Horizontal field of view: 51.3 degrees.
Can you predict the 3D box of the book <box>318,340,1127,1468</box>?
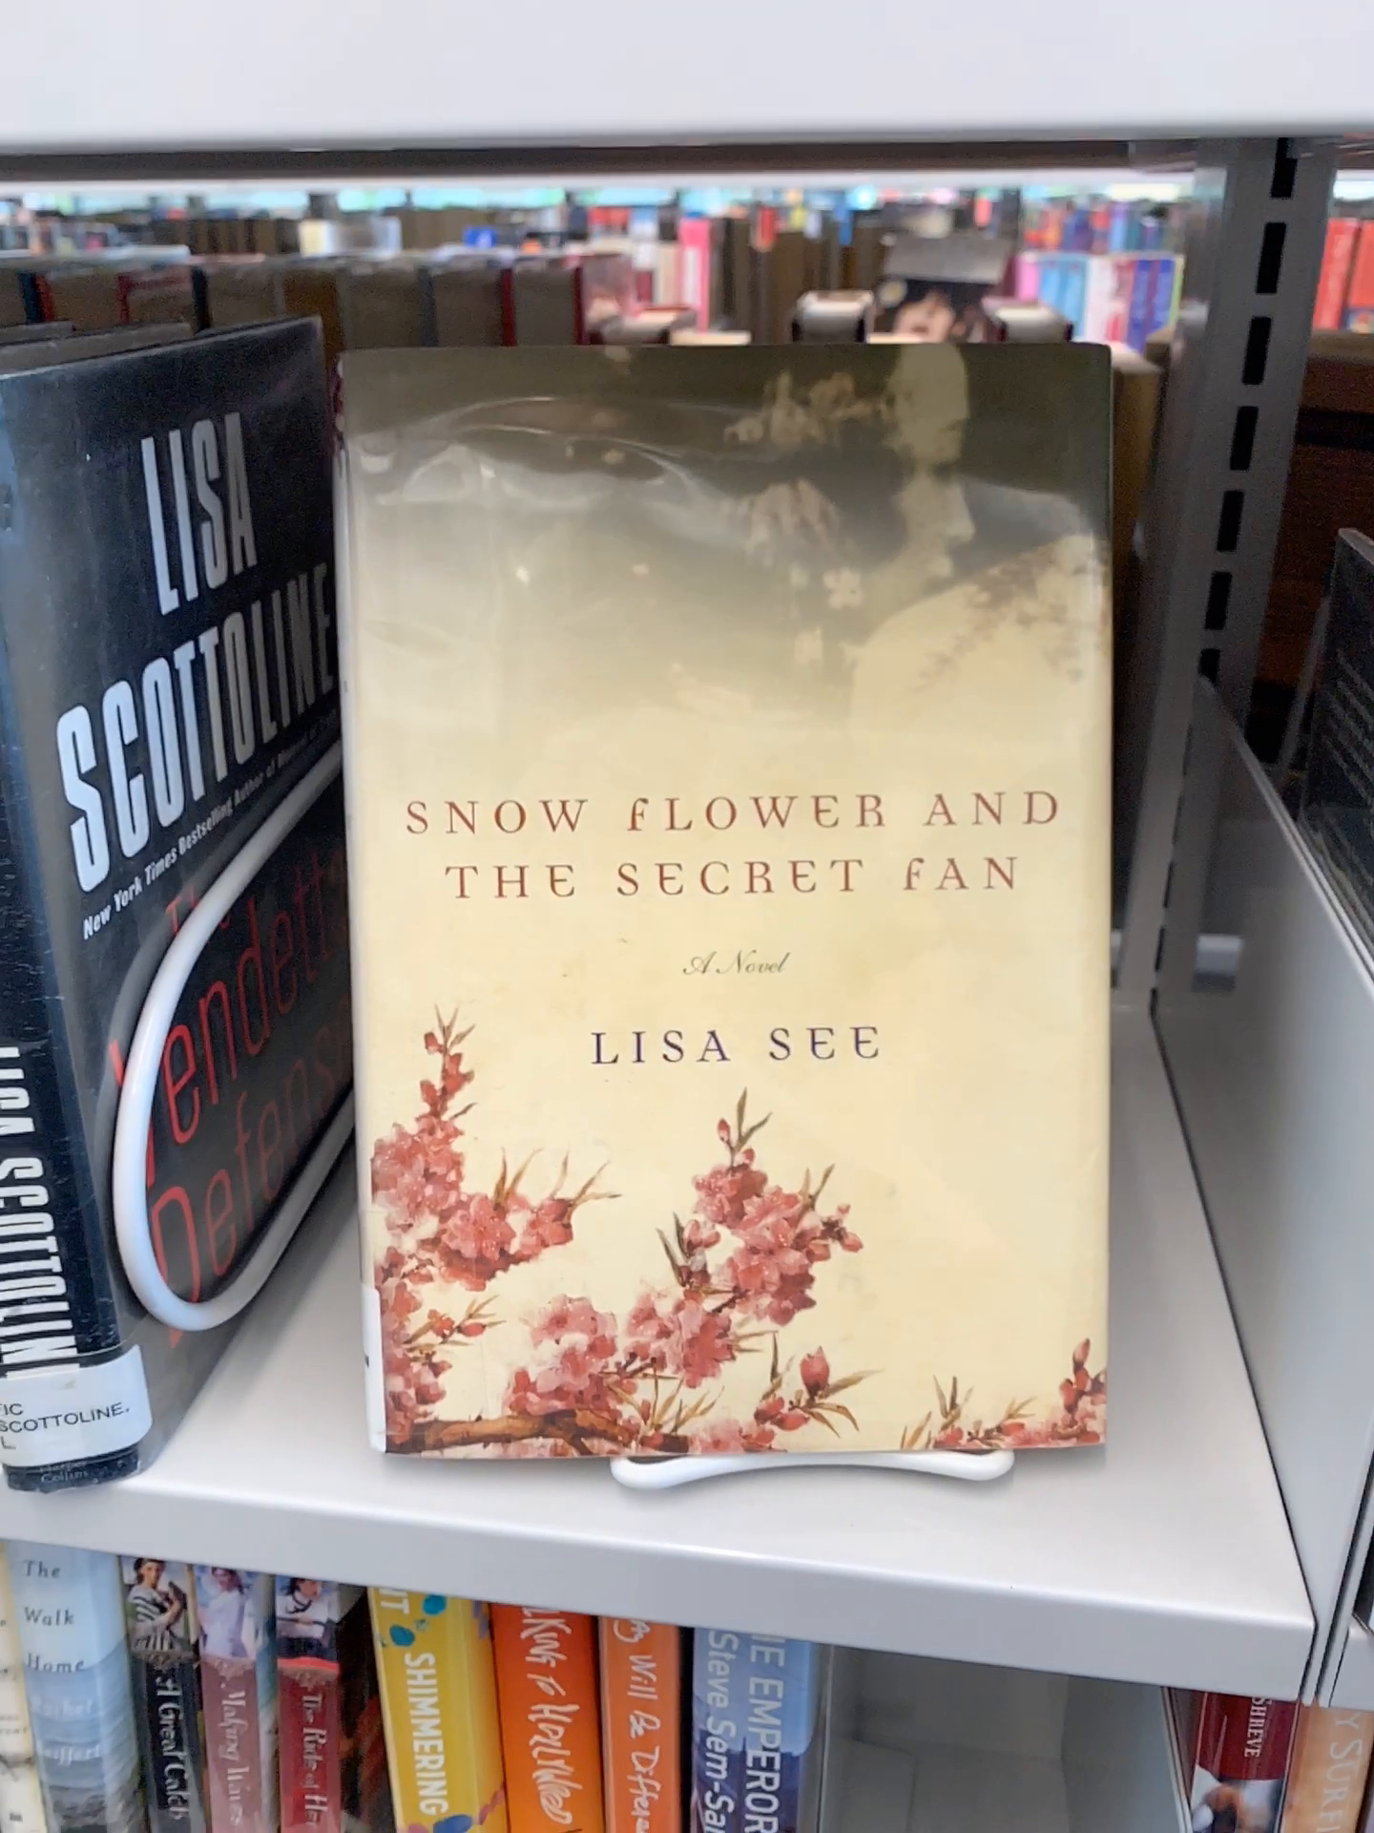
[{"bbox_3d":[0.009,-0.002,0.317,0.162,0.231,0.041,-1,5,-1],"label":"book"}]
